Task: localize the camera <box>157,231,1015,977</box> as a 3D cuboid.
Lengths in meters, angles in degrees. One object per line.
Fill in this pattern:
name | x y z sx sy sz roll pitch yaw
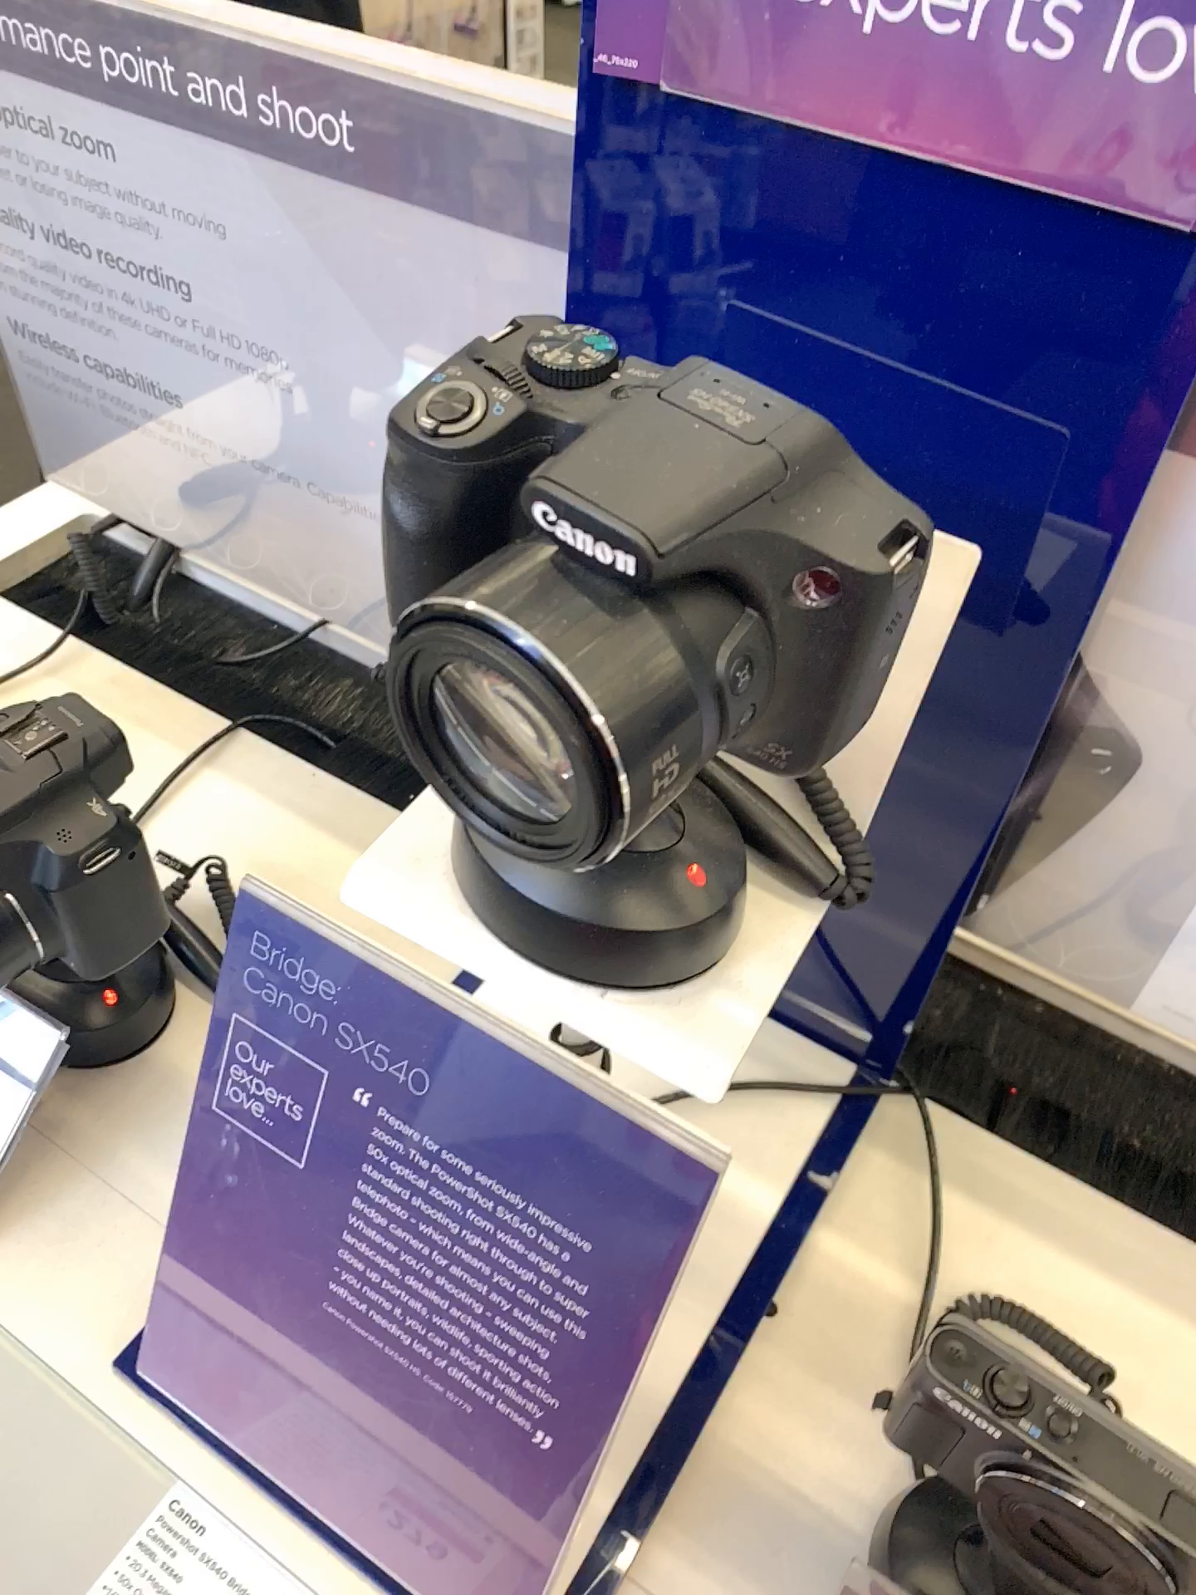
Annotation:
camera | -0.002 -0.050 0.258 0.120 0.069 0.111 32 52 24
